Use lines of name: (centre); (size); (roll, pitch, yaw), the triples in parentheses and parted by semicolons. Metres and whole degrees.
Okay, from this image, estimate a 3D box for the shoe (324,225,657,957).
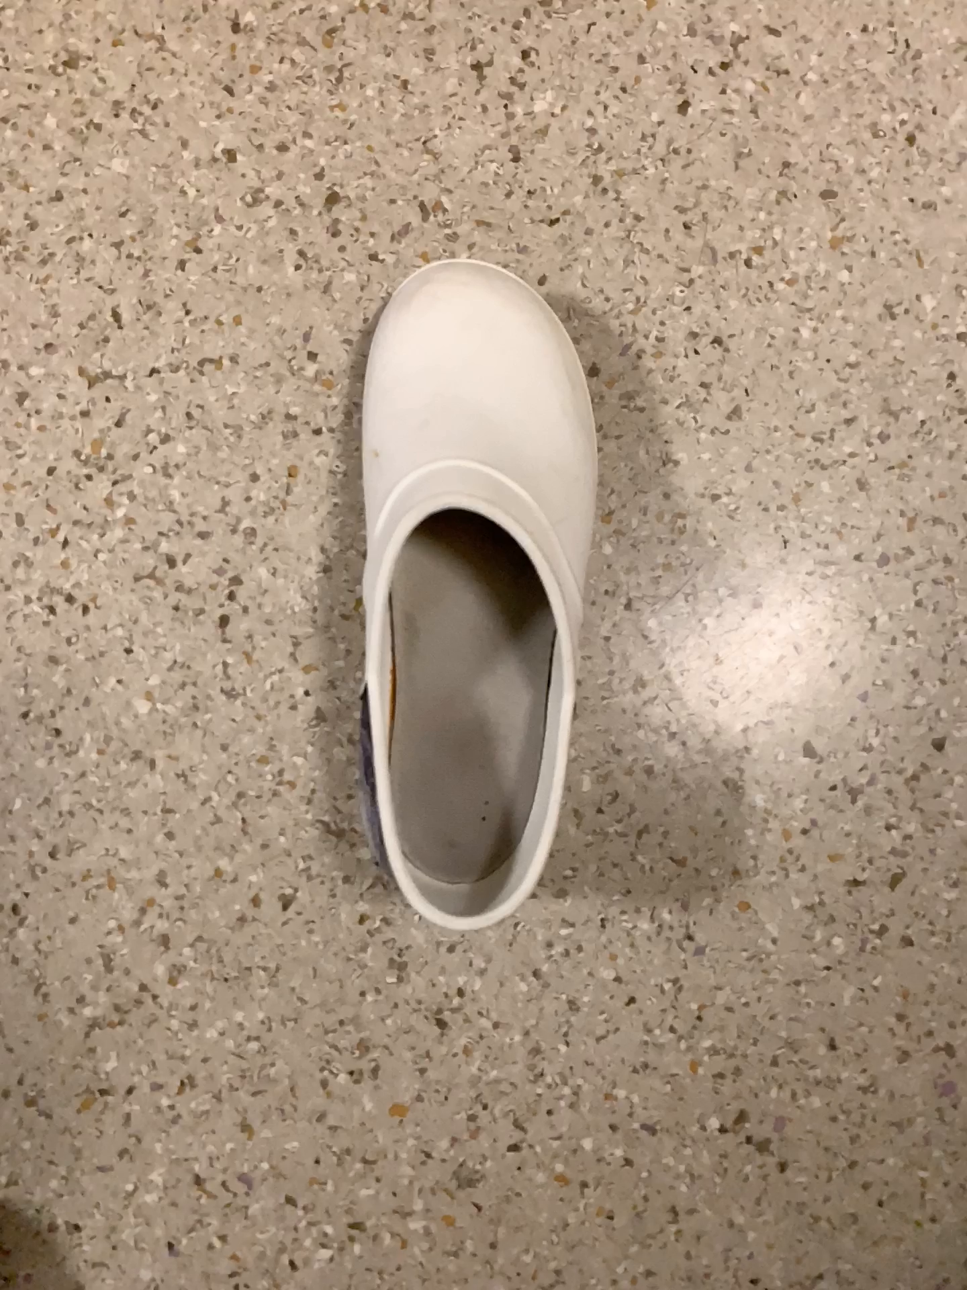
shoe: (0.002, -0.019, 0.397); (0.107, 0.102, 0.254); (3, 87, -1)
